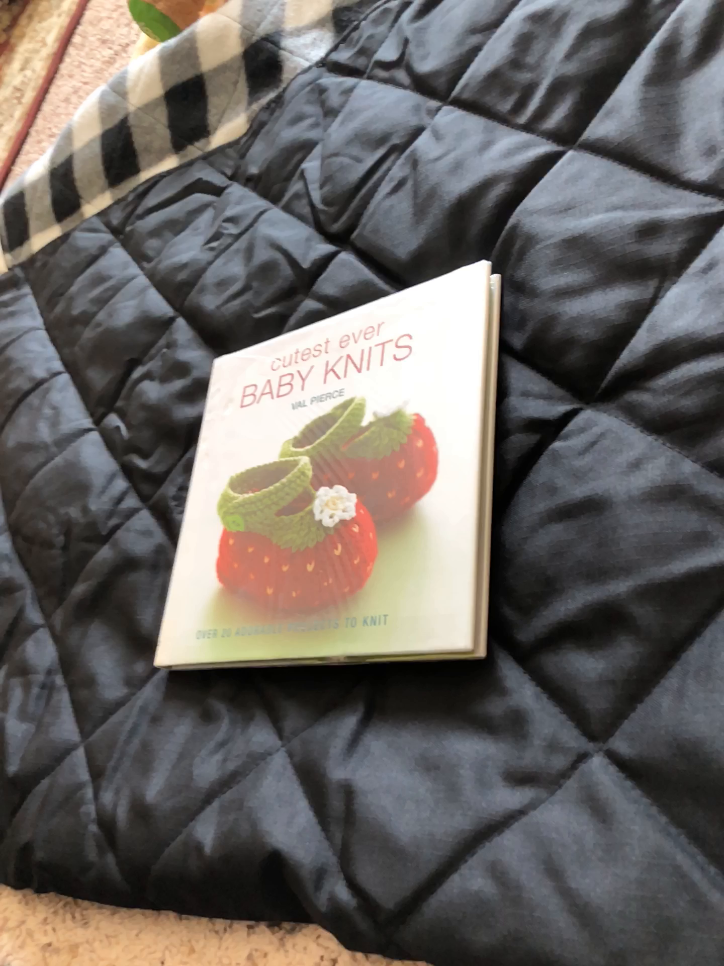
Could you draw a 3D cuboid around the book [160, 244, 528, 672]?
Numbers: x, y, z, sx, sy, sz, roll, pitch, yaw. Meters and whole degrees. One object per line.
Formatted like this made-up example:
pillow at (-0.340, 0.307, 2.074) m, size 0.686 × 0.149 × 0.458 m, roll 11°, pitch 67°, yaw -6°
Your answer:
book at (-0.011, -0.007, 0.415) m, size 0.198 × 0.020 × 0.200 m, roll -11°, pitch 62°, yaw 34°
